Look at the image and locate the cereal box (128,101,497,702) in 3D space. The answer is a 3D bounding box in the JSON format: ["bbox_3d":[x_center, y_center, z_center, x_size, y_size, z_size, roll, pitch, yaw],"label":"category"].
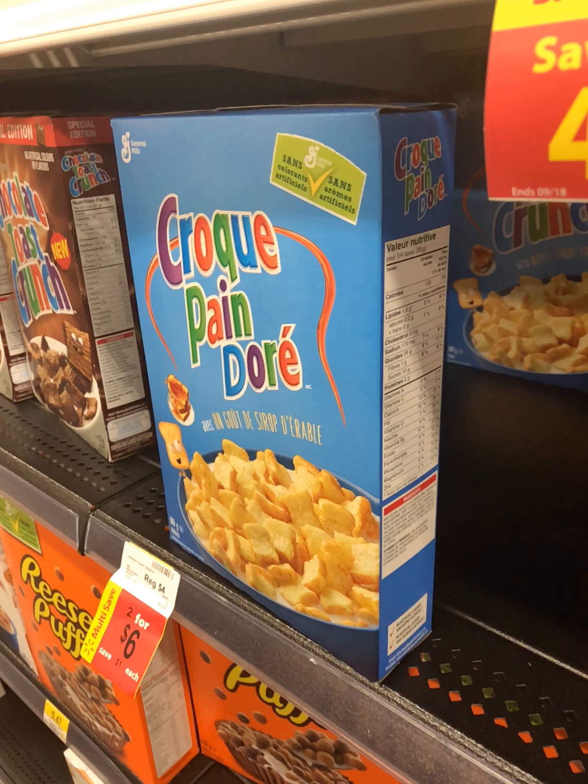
[{"bbox_3d":[-0.001,-0.005,0.381,0.060,0.298,0.201,-21,30,-39],"label":"cereal box"}]
